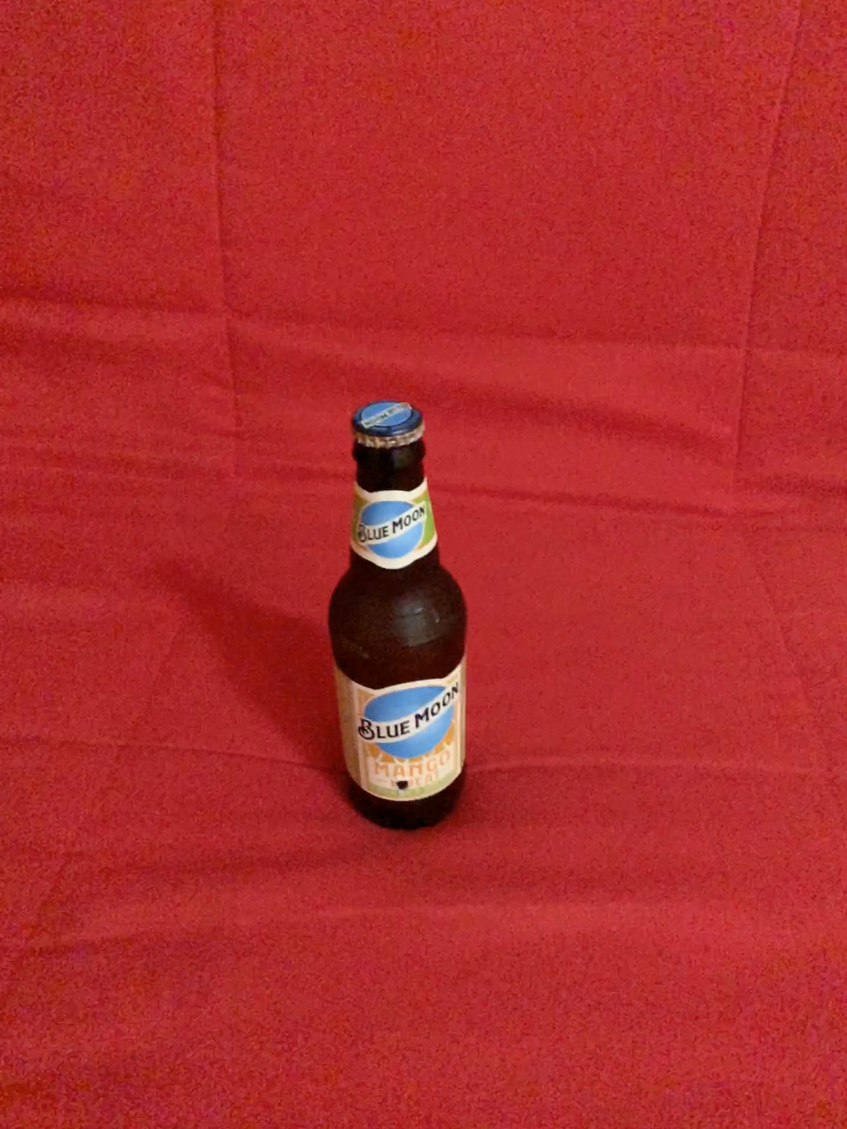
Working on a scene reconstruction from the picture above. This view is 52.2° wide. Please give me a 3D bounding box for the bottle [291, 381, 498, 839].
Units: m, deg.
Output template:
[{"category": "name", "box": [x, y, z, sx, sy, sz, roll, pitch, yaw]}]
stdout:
[{"category": "bottle", "box": [-0.009, 0.032, 0.389, 0.070, 0.216, 0.069, -1, 41, 1]}]
